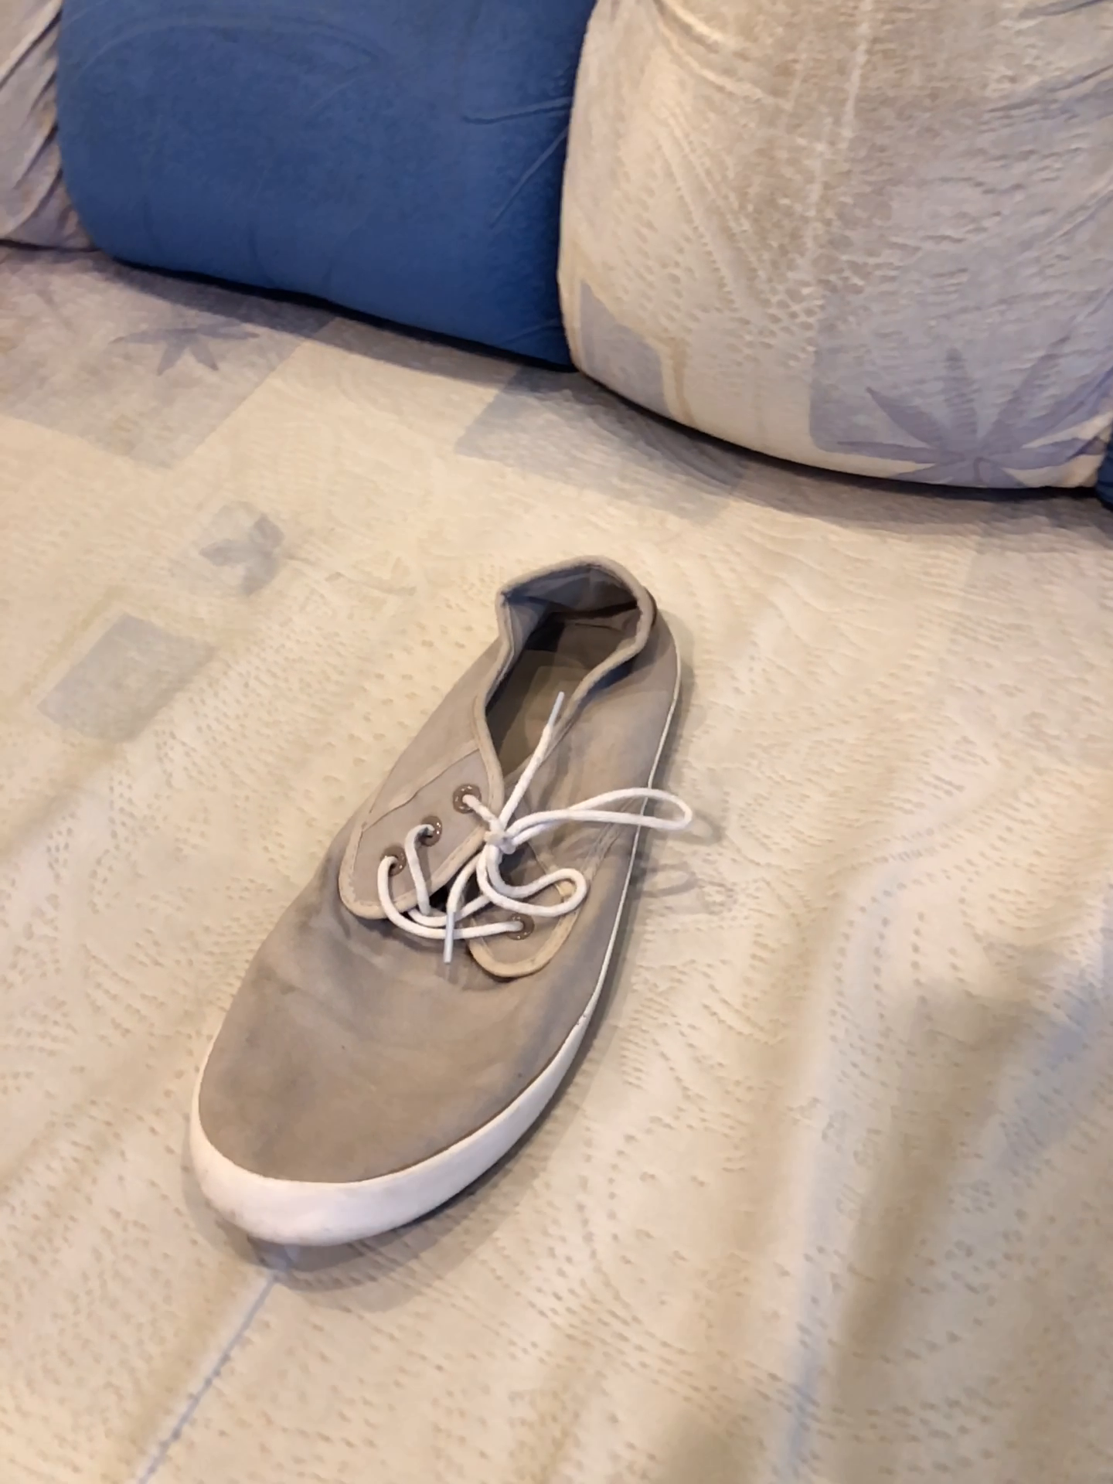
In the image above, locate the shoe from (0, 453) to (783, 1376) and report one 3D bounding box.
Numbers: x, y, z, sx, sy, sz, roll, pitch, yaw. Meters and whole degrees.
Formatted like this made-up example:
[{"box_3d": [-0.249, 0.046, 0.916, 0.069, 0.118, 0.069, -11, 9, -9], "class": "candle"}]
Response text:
[{"box_3d": [-0.027, 0.029, 0.386, 0.110, 0.079, 0.272, 18, 52, 17], "class": "shoe"}]
